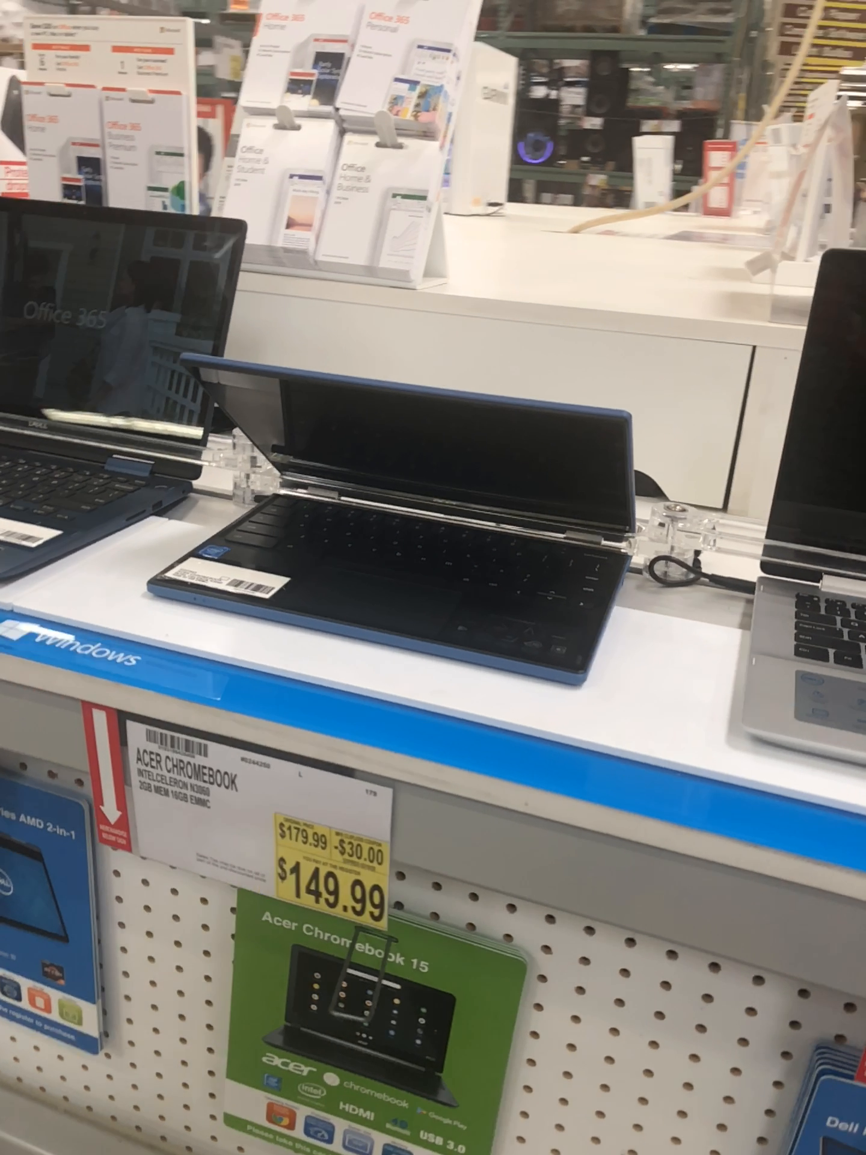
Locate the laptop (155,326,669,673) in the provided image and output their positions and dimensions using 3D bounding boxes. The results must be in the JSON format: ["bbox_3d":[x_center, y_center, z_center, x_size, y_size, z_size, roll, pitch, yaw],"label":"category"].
[{"bbox_3d":[-0.005,-0.068,0.628,0.280,0.128,0.187,11,26,16],"label":"laptop"}]

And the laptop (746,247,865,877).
[{"bbox_3d":[0.350,-0.041,0.506,0.296,0.211,0.222,12,26,18],"label":"laptop"}]

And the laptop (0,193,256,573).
[{"bbox_3d":[-0.361,-0.184,0.752,0.325,0.196,0.320,11,25,16],"label":"laptop"}]
